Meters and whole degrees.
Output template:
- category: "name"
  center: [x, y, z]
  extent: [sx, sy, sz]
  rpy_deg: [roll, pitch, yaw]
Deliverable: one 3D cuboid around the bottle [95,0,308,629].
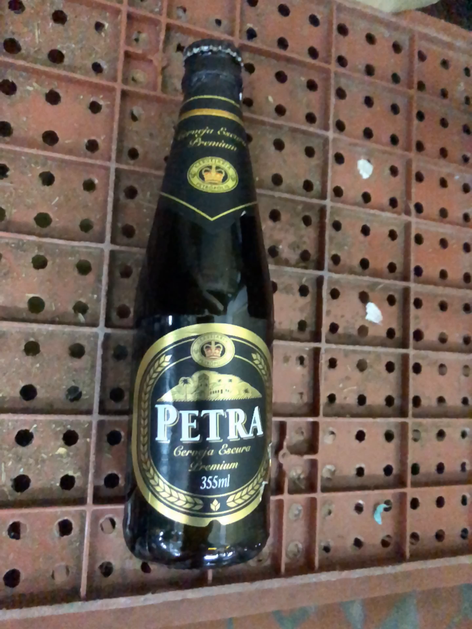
- category: "bottle"
  center: [-0.016, -0.015, 0.226]
  extent: [0.070, 0.060, 0.250]
  rpy_deg: [3, 83, -22]
